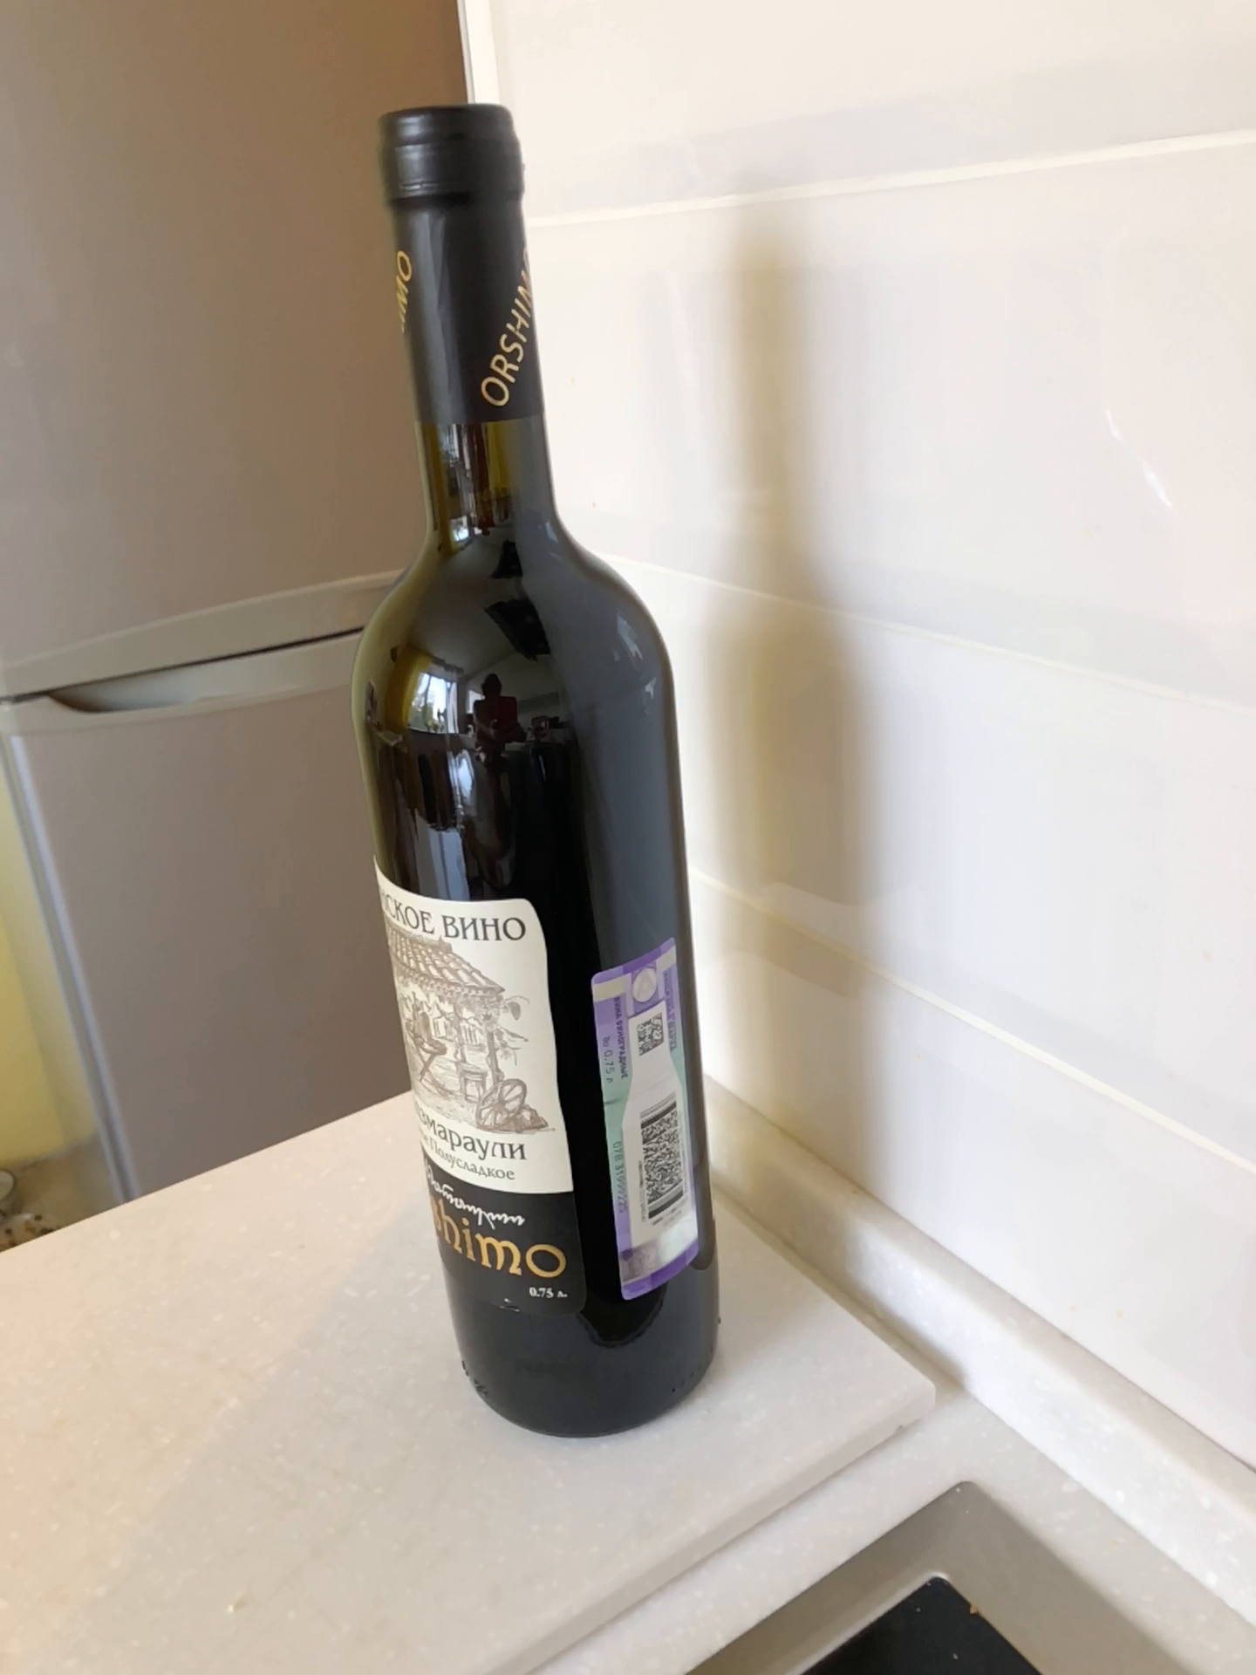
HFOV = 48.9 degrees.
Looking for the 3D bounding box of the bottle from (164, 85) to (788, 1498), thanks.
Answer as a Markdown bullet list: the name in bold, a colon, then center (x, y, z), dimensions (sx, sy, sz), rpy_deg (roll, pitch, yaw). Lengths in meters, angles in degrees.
- **bottle**: center (-0.025, -0.002, 0.324), dimensions (0.080, 0.298, 0.080), rpy_deg (-4, 23, 2)
